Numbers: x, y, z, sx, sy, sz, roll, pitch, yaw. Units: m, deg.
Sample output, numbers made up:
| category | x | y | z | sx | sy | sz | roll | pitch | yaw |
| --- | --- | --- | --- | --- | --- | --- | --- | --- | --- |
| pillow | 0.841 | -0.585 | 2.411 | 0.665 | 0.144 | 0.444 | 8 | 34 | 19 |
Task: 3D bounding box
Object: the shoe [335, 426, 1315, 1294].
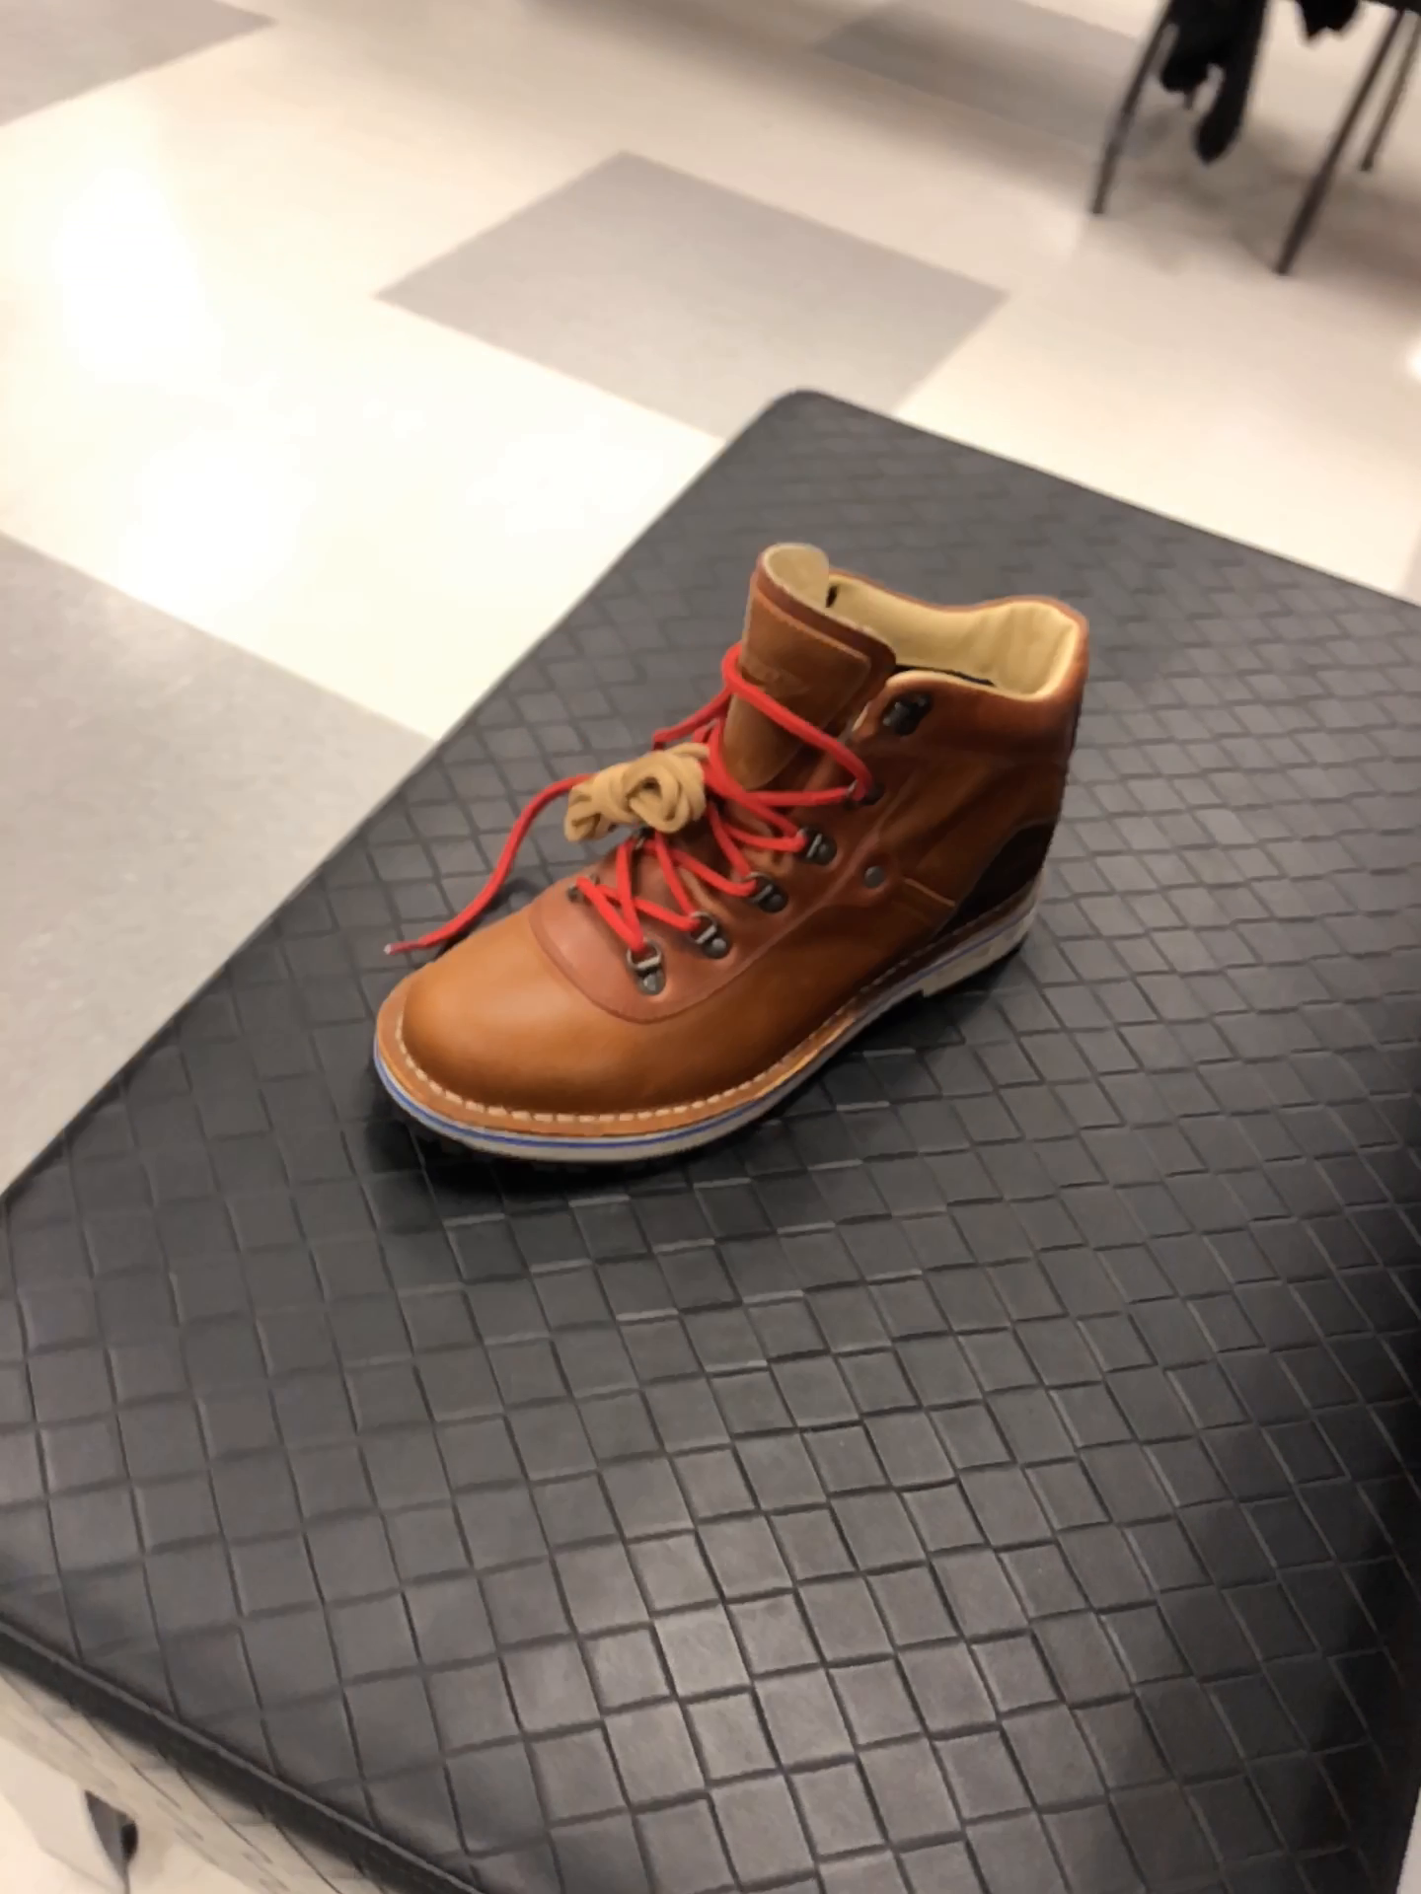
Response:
| category | x | y | z | sx | sy | sz | roll | pitch | yaw |
| --- | --- | --- | --- | --- | --- | --- | --- | --- | --- |
| shoe | 0.036 | -0.041 | 0.551 | 0.298 | 0.180 | 0.122 | -24 | 56 | -29 |
